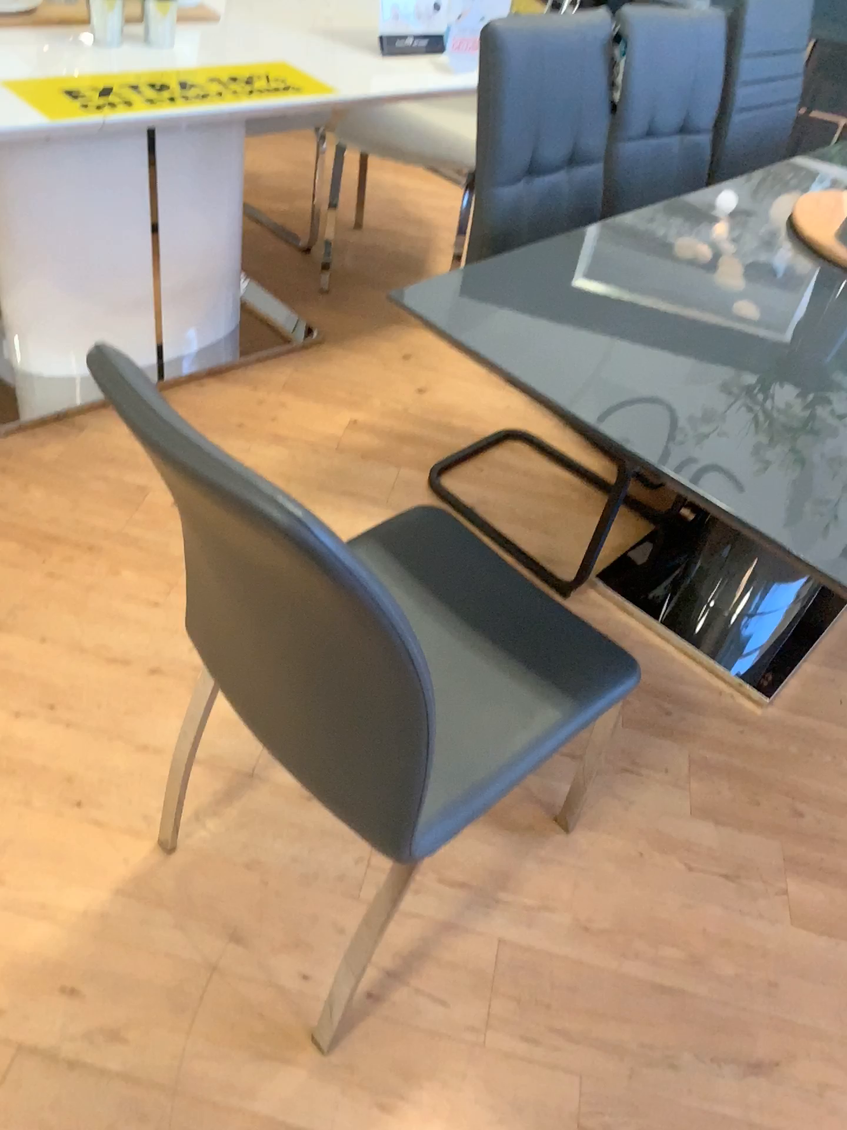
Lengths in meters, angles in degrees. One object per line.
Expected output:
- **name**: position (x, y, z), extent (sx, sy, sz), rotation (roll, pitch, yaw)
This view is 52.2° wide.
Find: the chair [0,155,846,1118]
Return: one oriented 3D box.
- **chair**: position (-0.018, 0.094, 1.078), extent (0.633, 0.912, 0.512), rotation (-29, 57, -36)
